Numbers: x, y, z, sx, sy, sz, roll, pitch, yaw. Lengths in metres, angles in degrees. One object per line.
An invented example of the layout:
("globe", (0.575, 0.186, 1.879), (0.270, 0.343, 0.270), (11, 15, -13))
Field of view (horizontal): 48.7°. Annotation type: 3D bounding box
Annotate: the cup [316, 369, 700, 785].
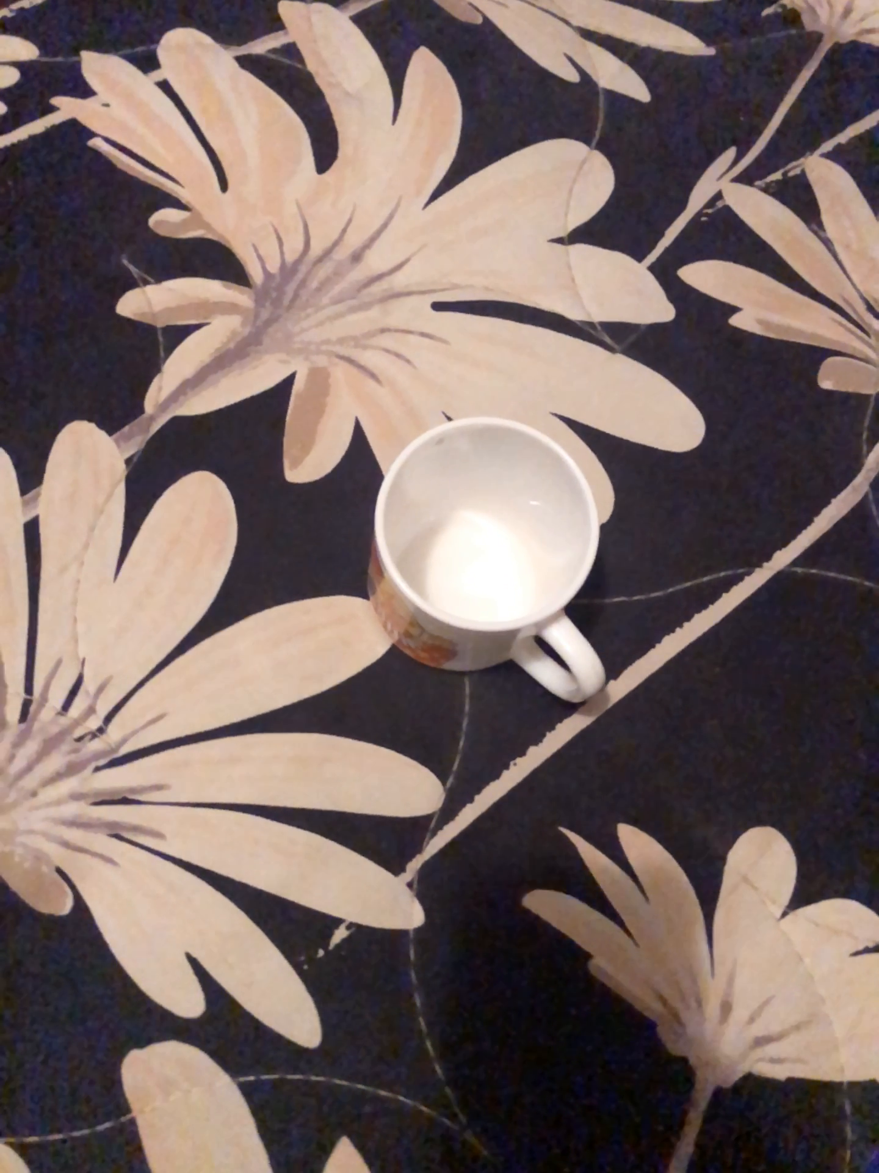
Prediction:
("cup", (0.019, -0.001, 0.361), (0.085, 0.077, 0.108), (-28, 74, -14))
